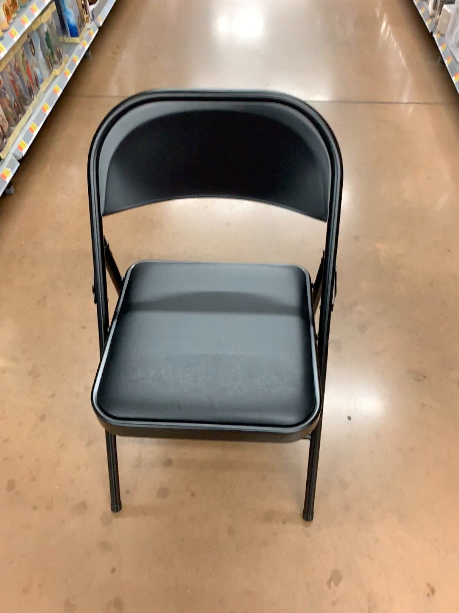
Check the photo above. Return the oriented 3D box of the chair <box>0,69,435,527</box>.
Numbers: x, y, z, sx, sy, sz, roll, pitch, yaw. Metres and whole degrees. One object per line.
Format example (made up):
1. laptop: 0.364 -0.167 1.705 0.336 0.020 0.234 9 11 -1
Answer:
1. chair: -0.039 0.038 0.846 0.470 0.697 0.472 1 50 2
